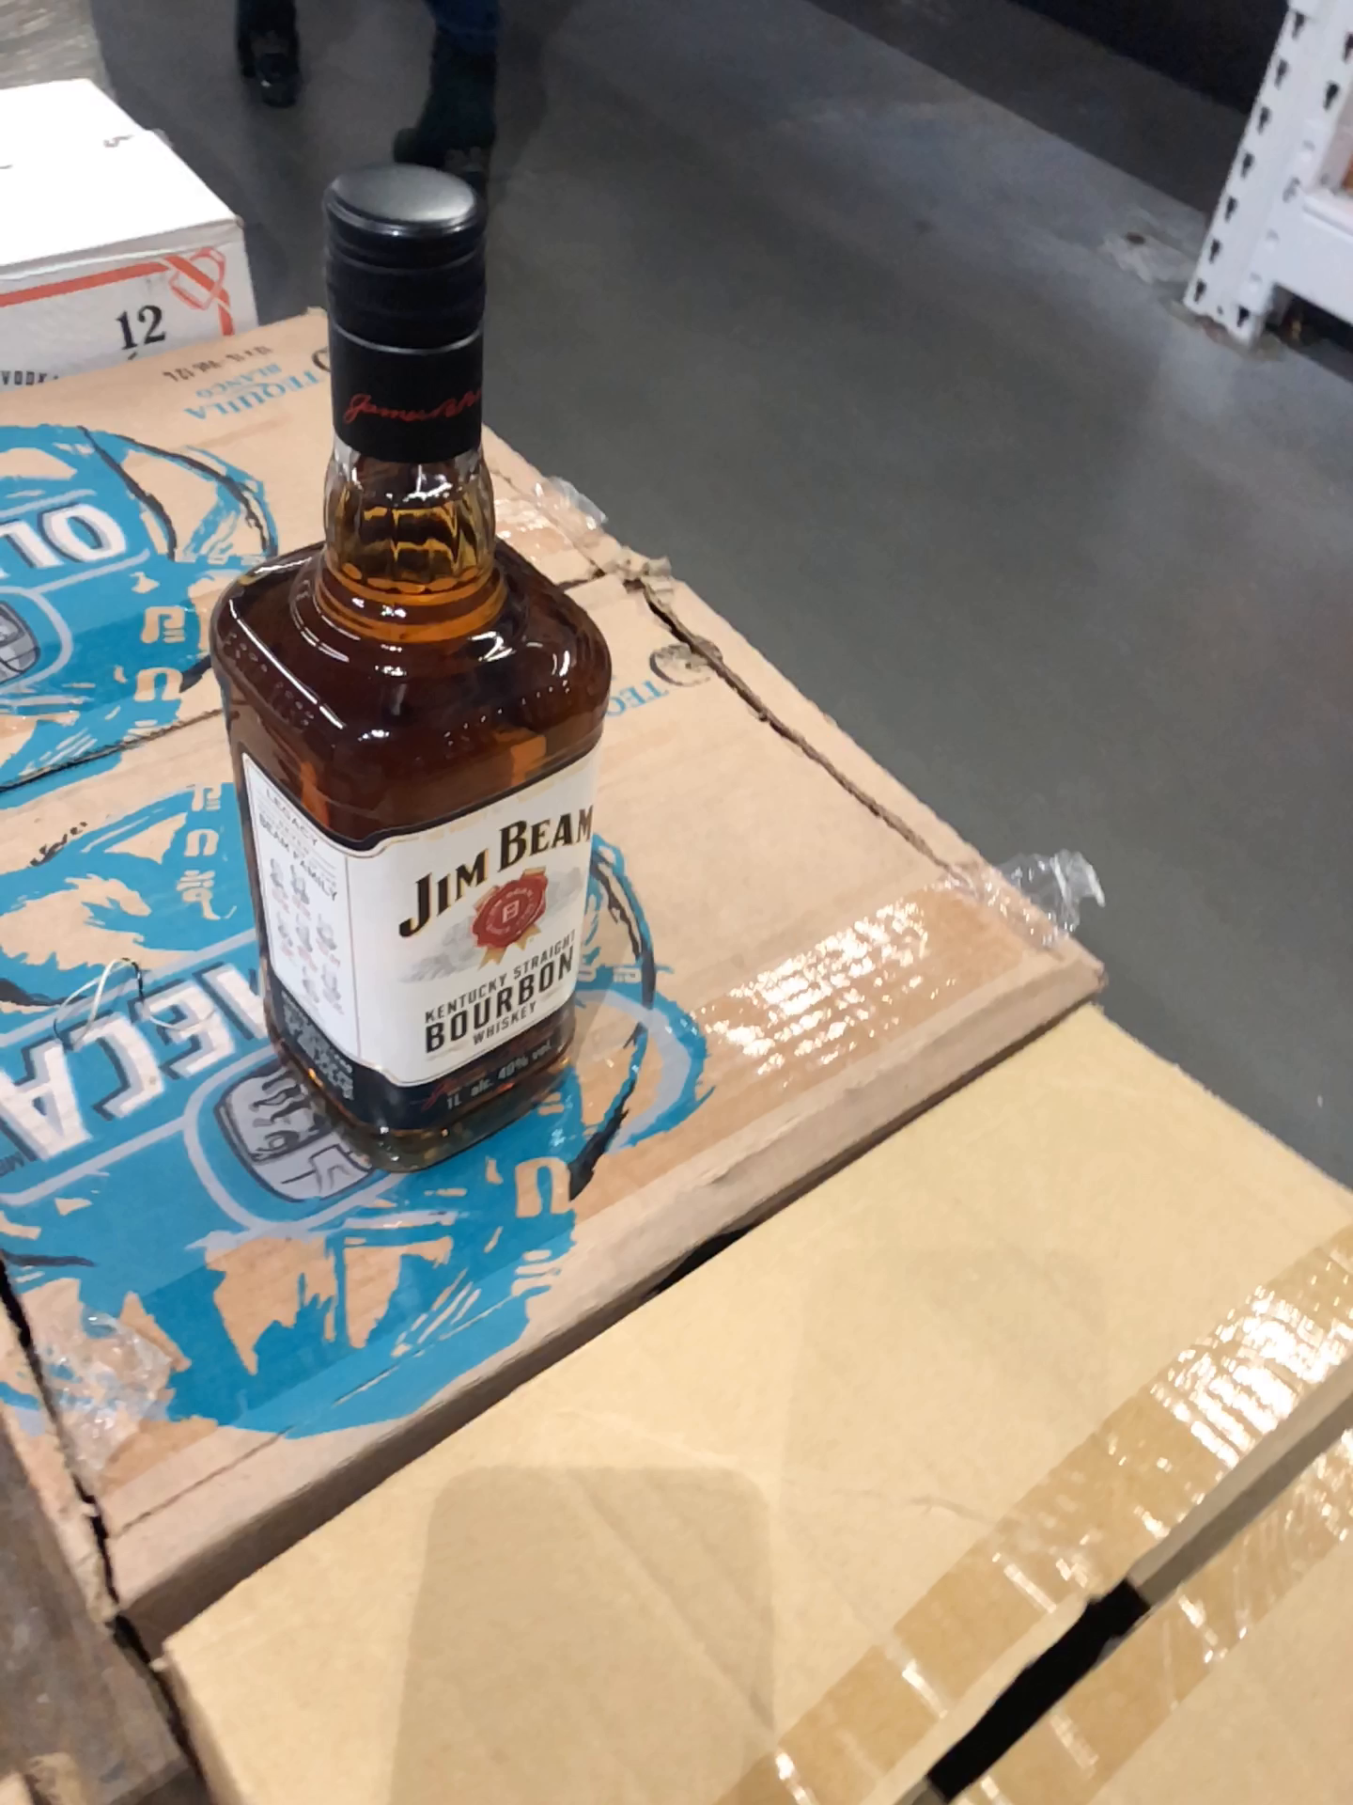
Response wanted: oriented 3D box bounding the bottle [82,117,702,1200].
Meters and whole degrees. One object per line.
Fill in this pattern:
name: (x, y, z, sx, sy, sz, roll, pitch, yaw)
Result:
bottle: (-0.067, -0.043, 0.388, 0.091, 0.263, 0.081, -28, 57, -28)
